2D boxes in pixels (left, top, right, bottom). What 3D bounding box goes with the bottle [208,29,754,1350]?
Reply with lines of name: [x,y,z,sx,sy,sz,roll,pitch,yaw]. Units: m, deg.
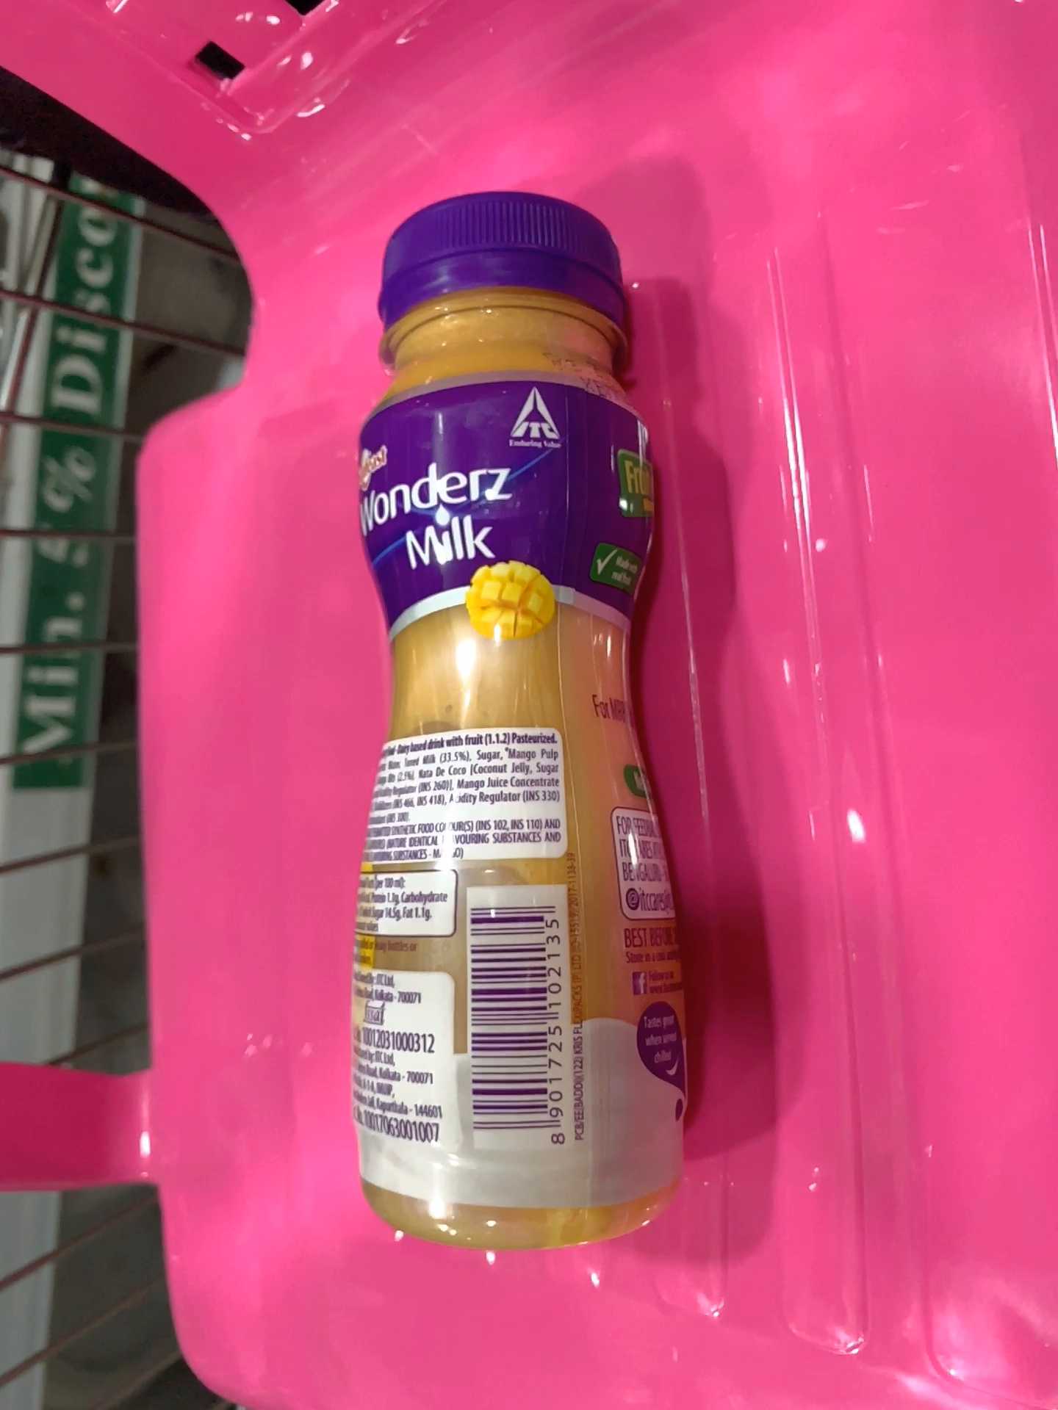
bottle: [-0.008,-0.002,0.169,0.050,0.050,0.160,-9,84,39]
